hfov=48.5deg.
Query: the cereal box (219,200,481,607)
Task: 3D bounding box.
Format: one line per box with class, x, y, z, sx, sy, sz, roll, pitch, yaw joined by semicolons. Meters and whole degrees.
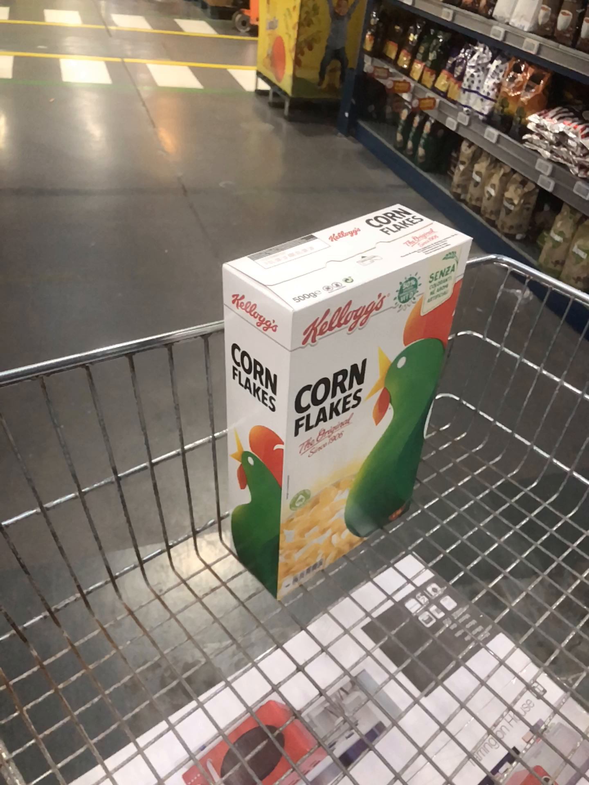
cereal box;0.036;0.019;0.596;0.191;0.328;0.090;-27;49;-33
